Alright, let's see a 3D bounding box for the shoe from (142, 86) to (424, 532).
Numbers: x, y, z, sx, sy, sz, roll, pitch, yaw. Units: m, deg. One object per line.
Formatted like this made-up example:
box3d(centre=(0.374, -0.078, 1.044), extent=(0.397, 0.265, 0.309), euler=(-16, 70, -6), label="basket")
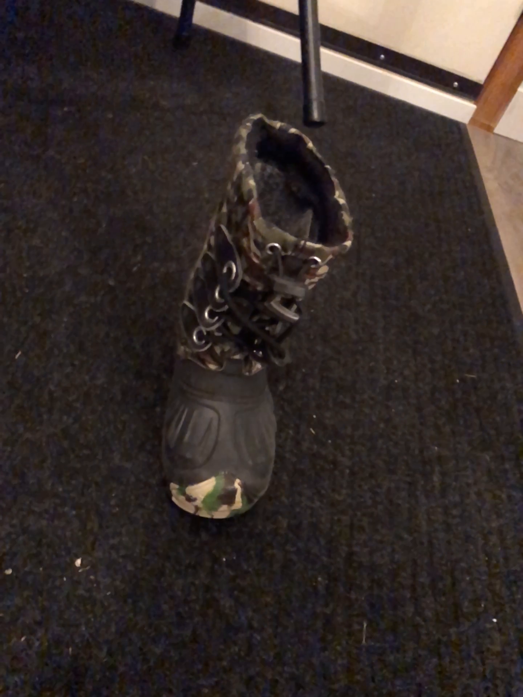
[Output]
box3d(centre=(-0.009, -0.022, 0.395), extent=(0.100, 0.209, 0.201), euler=(9, 44, -14), label="shoe")
